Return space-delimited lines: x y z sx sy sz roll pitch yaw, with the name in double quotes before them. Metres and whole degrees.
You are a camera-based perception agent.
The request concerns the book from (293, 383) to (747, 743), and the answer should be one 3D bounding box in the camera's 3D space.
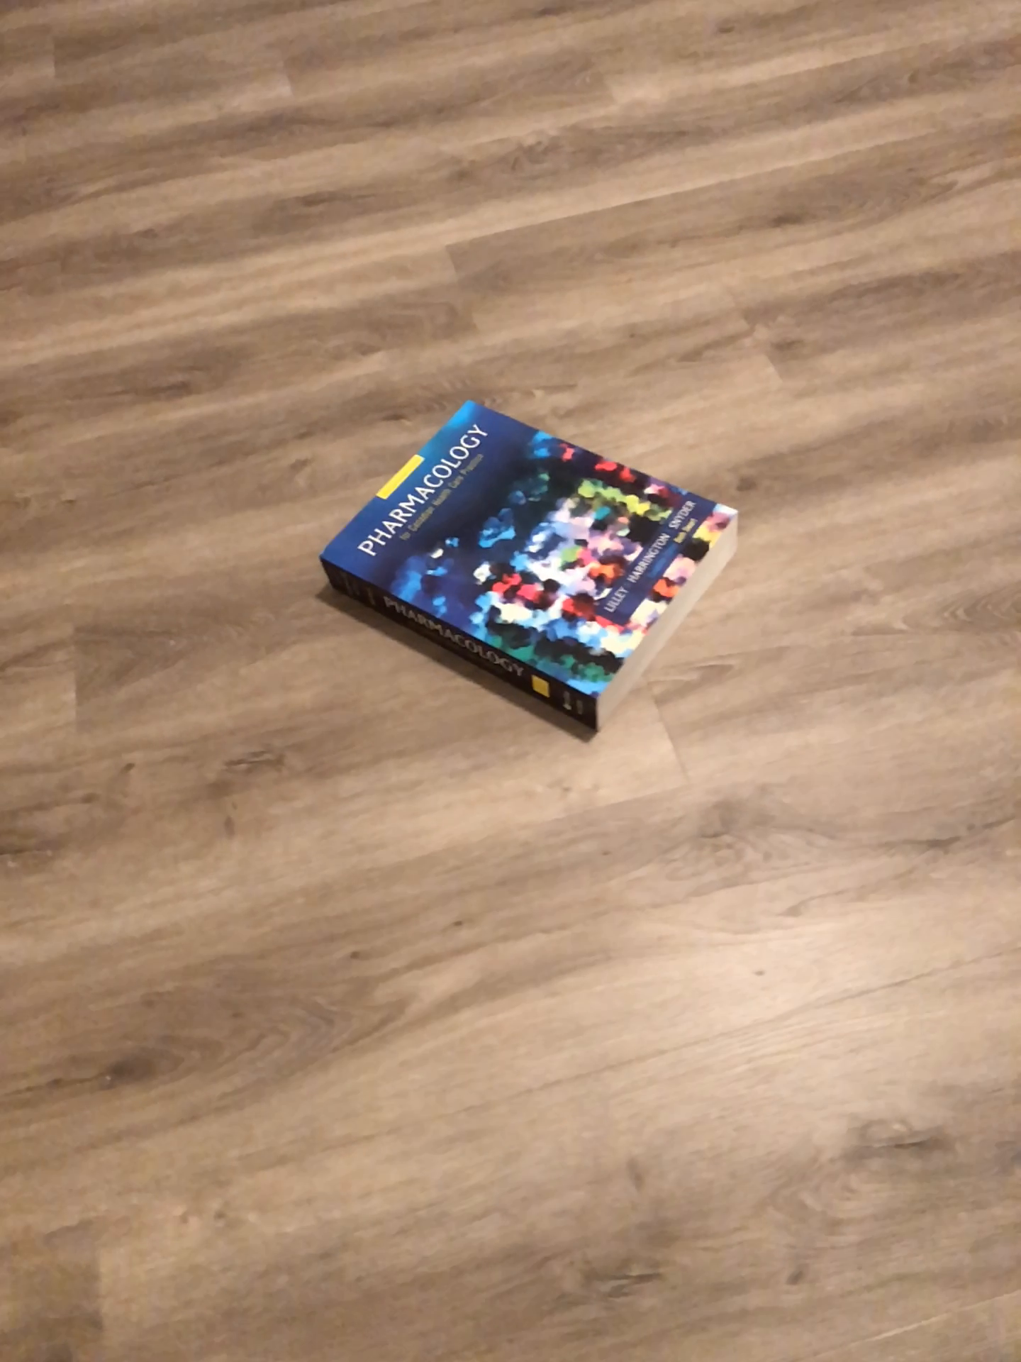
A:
"book" 0.009 -0.108 0.902 0.278 0.046 0.229 27 62 22
